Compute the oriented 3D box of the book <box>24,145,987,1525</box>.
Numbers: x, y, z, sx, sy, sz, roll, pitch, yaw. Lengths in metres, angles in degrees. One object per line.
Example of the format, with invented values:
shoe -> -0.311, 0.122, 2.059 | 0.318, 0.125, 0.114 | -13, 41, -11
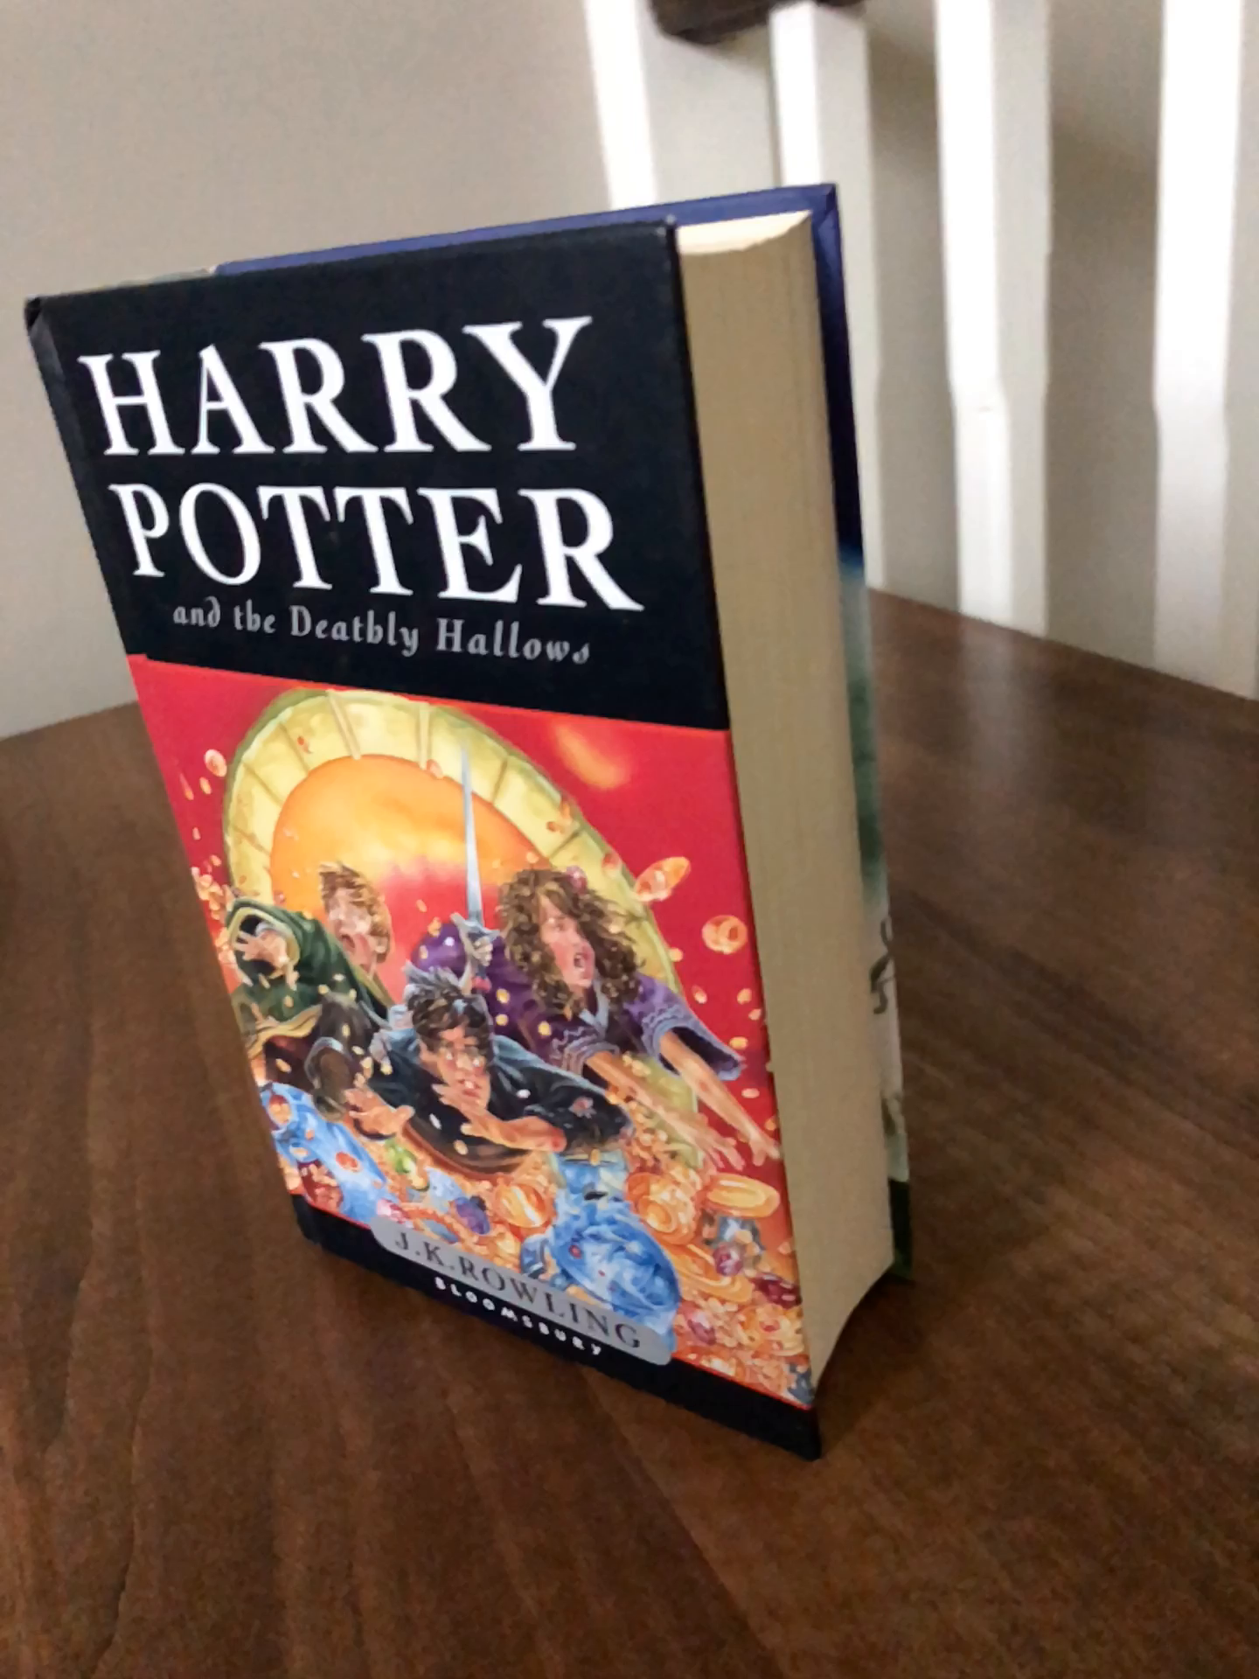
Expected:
book -> -0.015, -0.001, 0.257 | 0.140, 0.209, 0.060 | 10, 29, 36
